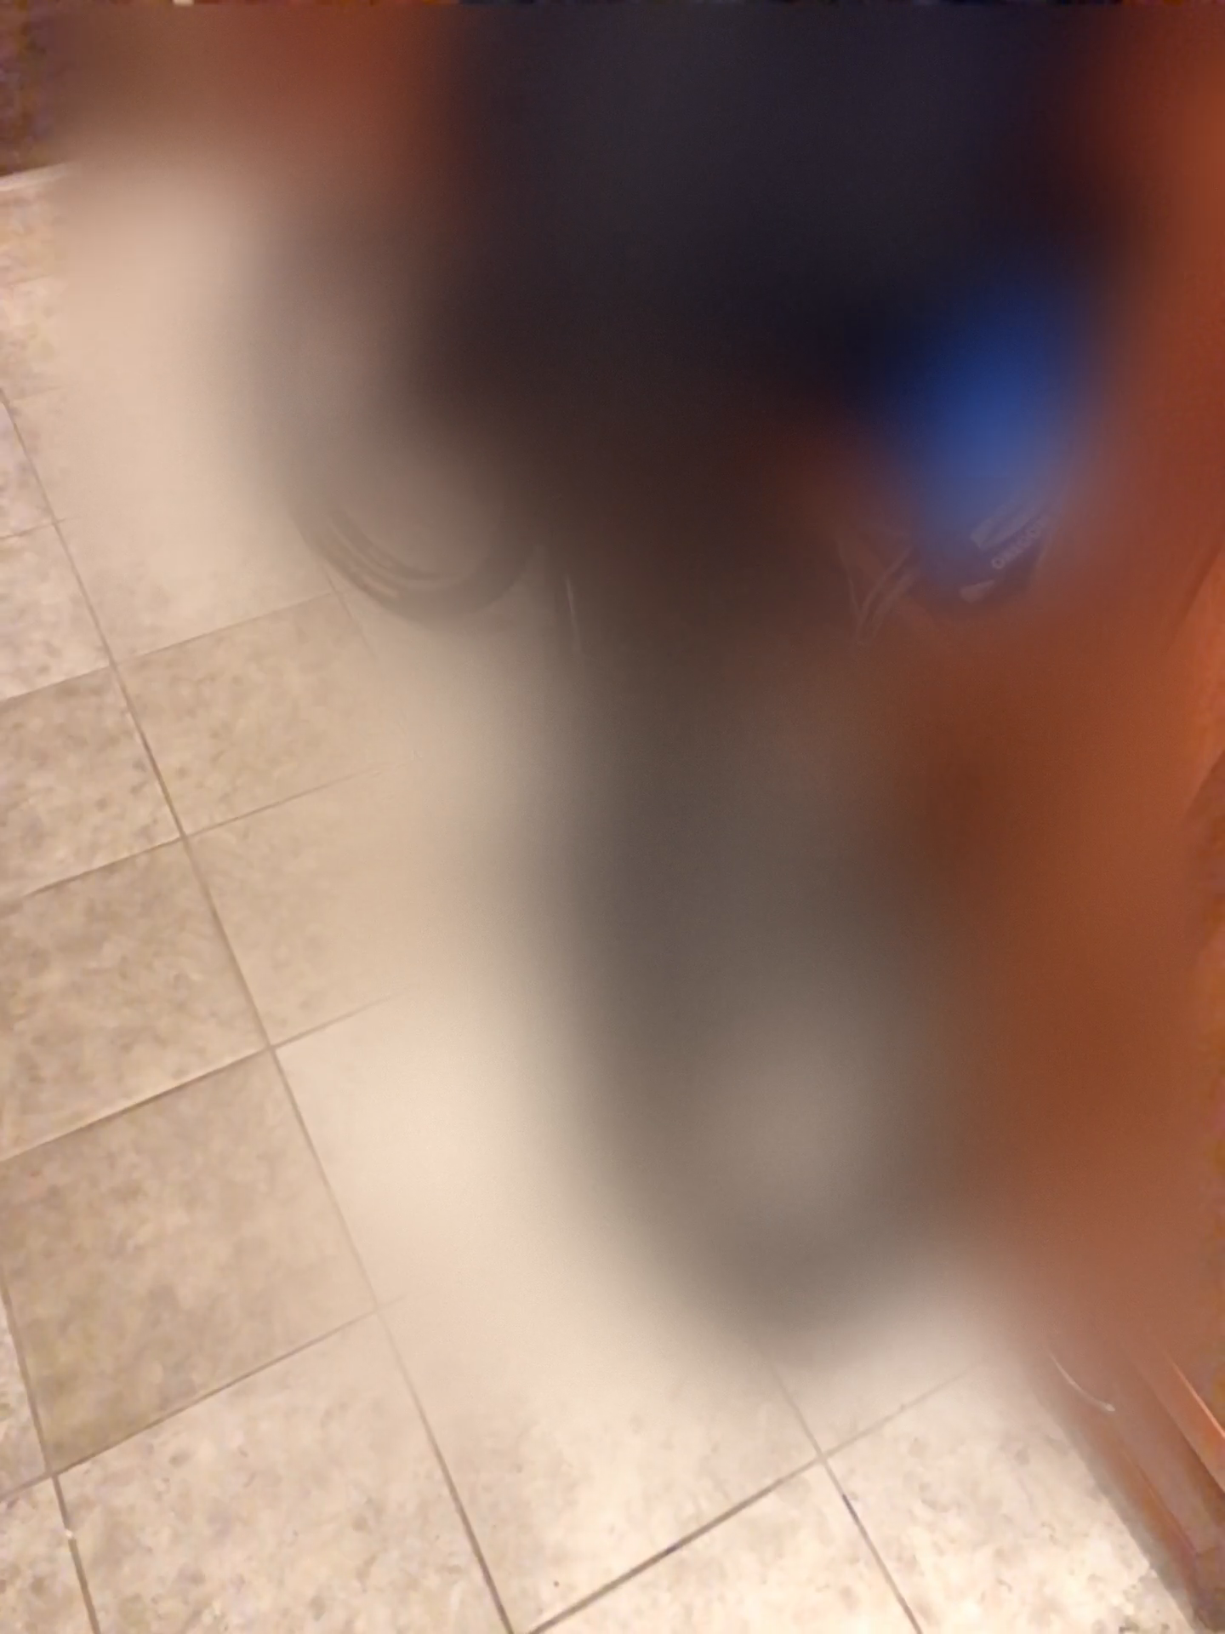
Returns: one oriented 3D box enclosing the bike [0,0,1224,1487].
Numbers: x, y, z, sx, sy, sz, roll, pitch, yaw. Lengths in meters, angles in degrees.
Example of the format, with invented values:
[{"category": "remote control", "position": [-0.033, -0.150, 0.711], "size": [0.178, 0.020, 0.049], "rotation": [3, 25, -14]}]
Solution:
[{"category": "bike", "position": [-0.043, -0.281, 1.187], "size": [0.526, 0.854, 1.357], "rotation": [-20, 59, -15]}]
